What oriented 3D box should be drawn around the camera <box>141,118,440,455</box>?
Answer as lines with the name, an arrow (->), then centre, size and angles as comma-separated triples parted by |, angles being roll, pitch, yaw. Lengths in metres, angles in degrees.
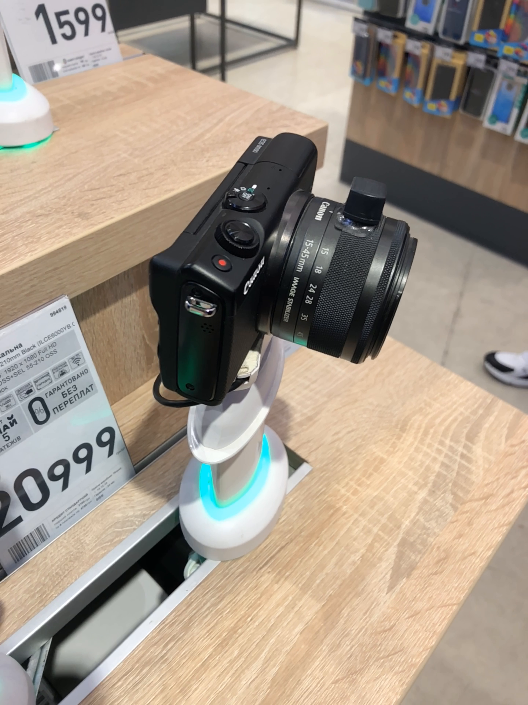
camera -> 0.015, -0.033, 0.231 | 0.082, 0.060, 0.113 | 16, 45, 8
